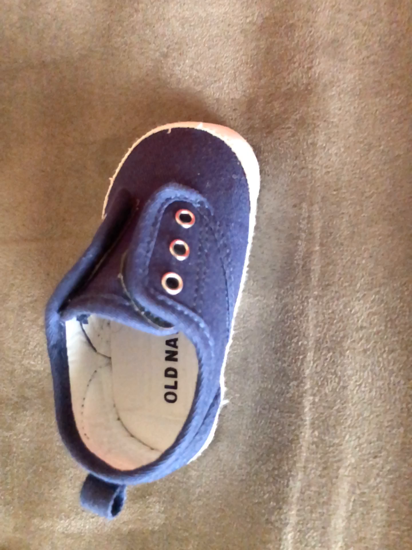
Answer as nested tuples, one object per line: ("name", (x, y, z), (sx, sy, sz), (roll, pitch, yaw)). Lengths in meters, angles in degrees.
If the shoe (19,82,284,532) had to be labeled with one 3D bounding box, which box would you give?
("shoe", (-0.015, 0.007, 0.152), (0.060, 0.060, 0.110), (4, 95, 25))
